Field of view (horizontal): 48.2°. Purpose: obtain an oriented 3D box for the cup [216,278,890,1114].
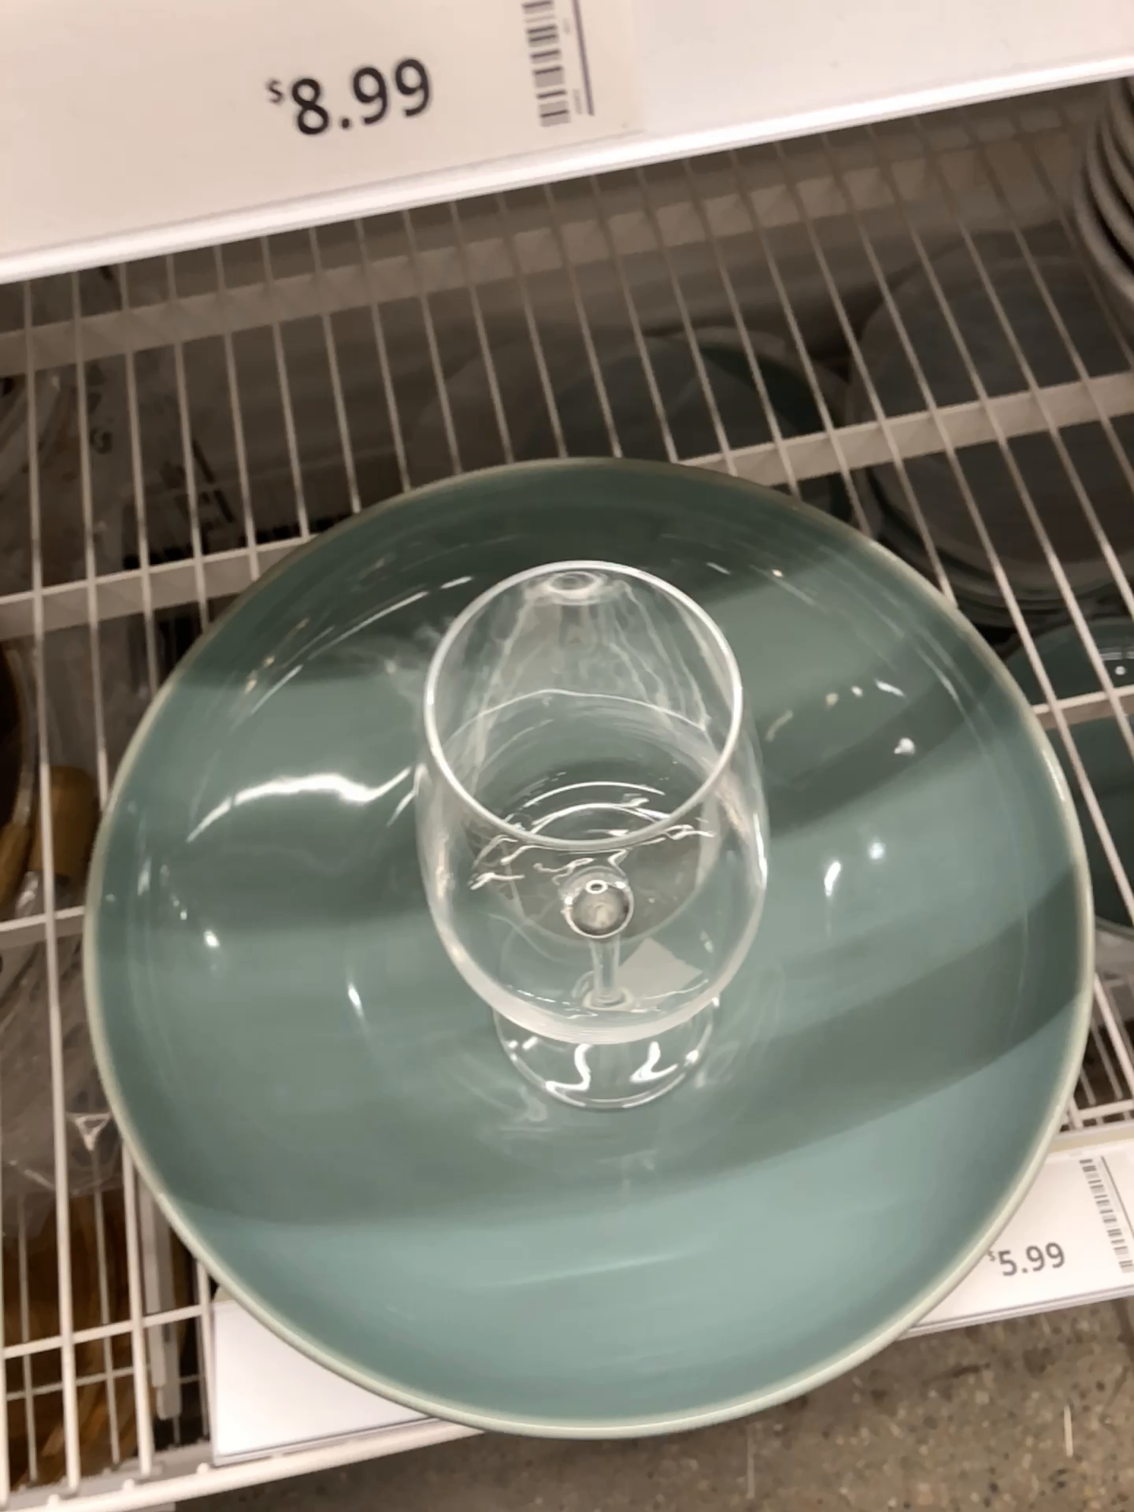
[{"bbox_3d":[0.008,0.015,0.366,0.100,0.280,0.100,-1,65,3],"label":"cup"}]
